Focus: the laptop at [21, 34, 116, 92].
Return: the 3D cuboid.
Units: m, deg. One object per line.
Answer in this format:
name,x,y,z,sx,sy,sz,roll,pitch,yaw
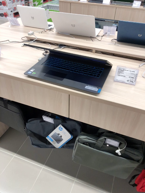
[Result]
laptop,-0.010,-0.197,0.833,0.390,0.129,0.272,15,41,17
